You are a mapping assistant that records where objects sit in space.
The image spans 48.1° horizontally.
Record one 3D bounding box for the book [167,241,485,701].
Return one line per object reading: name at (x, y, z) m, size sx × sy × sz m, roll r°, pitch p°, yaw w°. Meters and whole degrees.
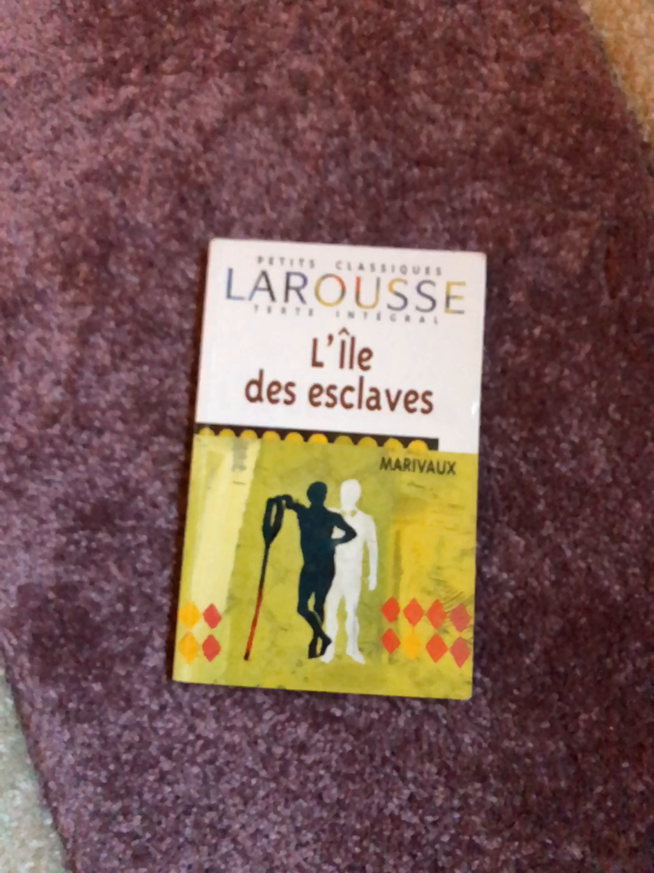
book at (0.002, 0.011, 0.284) m, size 0.110 × 0.020 × 0.166 m, roll 3°, pitch 83°, yaw 0°
